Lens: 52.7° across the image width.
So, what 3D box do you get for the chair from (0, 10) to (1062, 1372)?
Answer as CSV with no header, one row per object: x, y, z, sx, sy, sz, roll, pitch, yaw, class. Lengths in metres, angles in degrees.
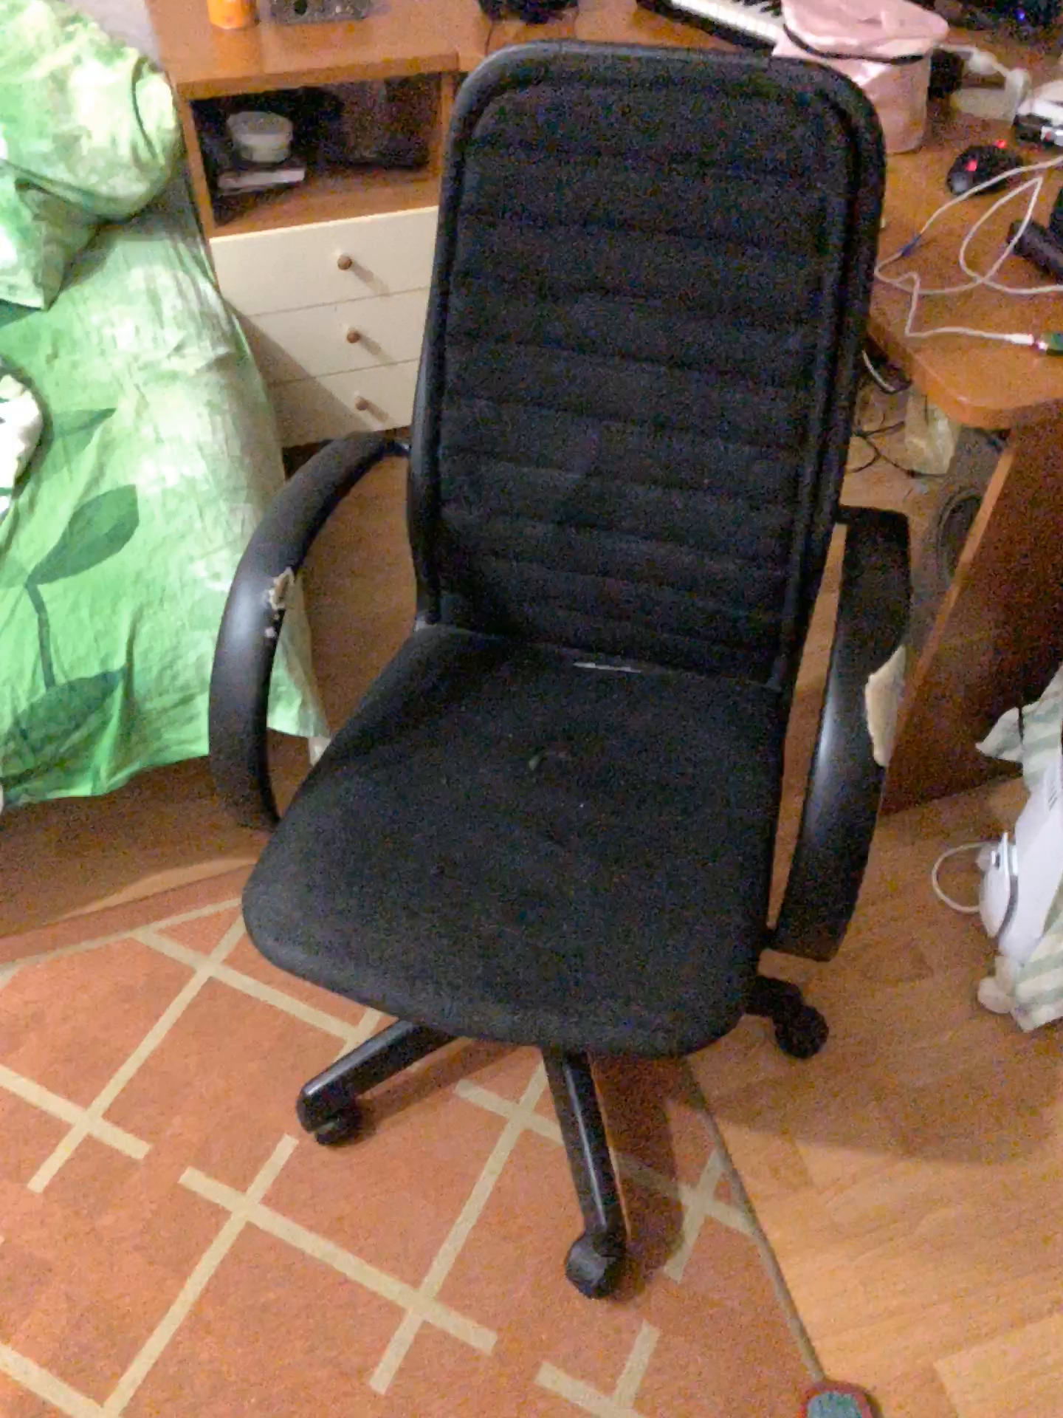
0.042,0.034,1.036,0.670,0.992,0.726,11,49,8,chair
